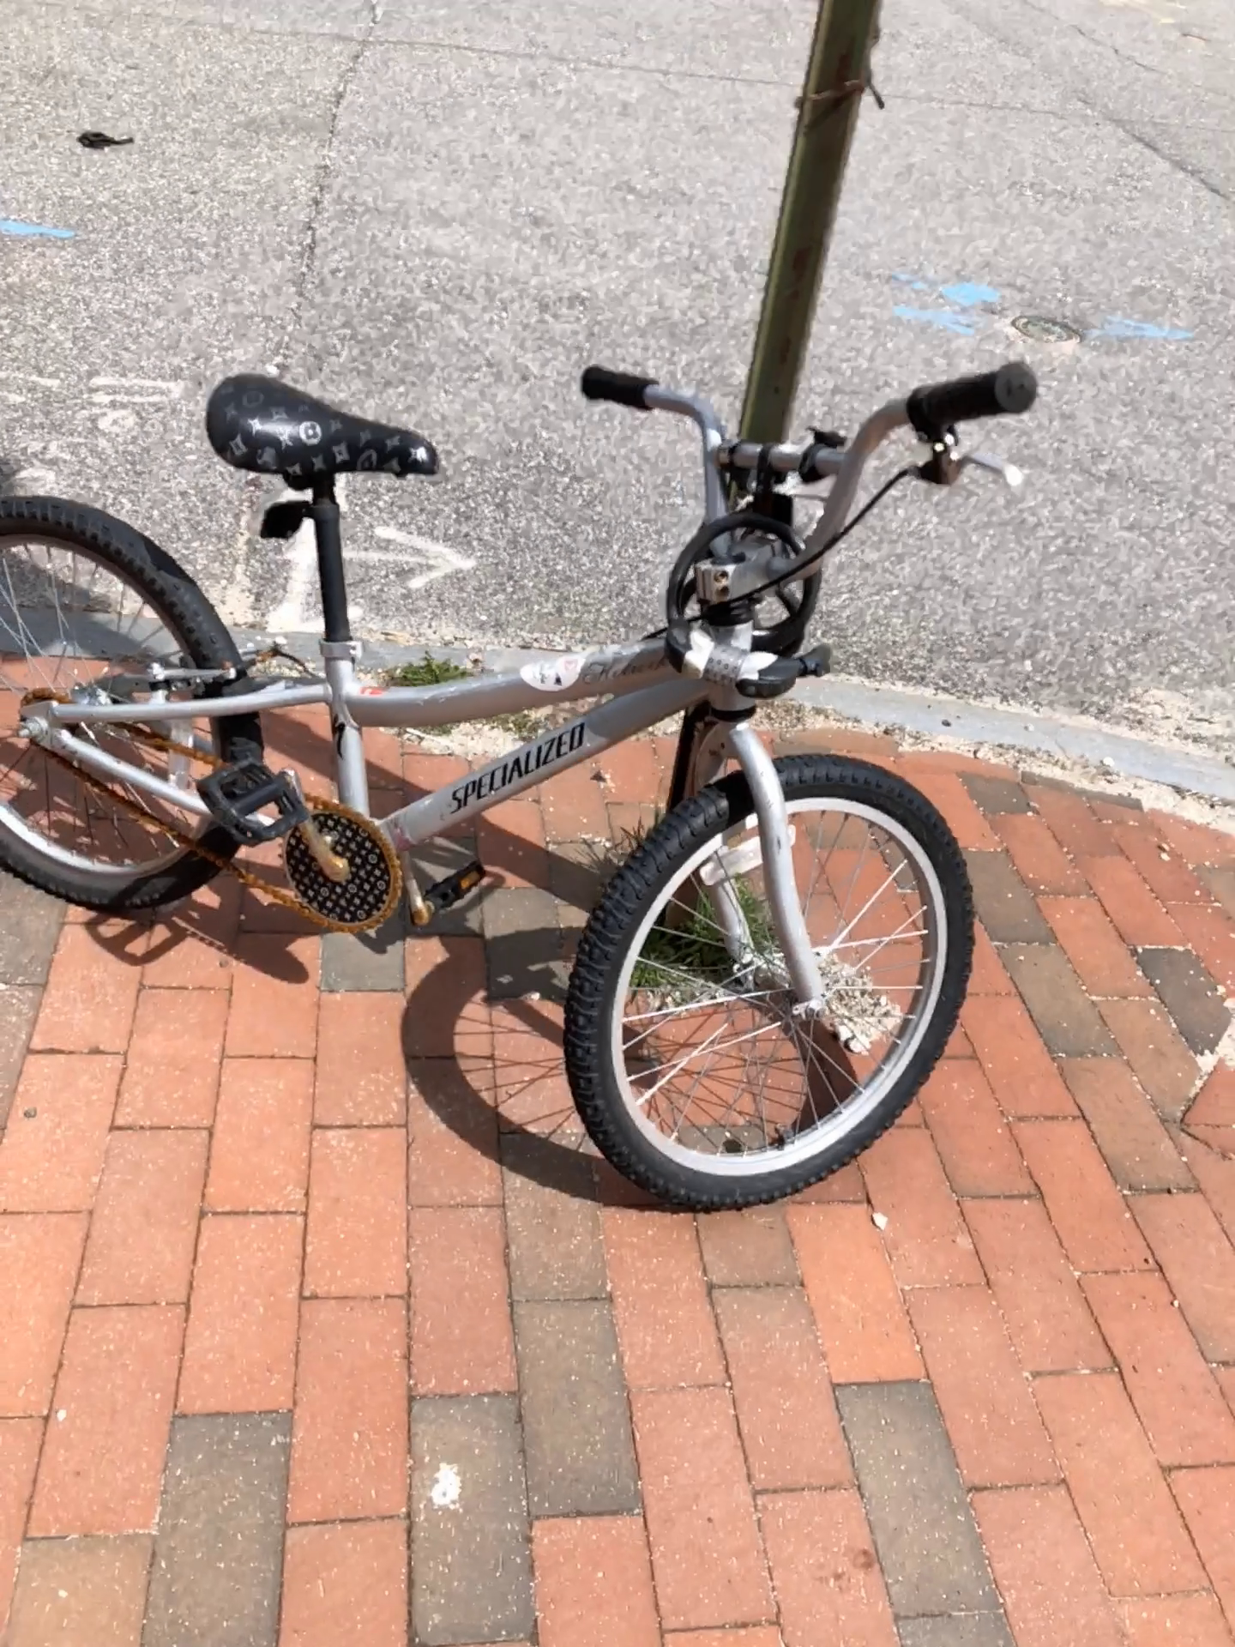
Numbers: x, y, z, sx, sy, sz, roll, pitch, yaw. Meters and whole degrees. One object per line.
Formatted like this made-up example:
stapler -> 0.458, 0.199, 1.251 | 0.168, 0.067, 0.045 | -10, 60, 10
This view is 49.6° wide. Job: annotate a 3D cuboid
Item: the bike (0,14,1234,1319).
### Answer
bike -> -0.194, -0.208, 1.356 | 1.208, 0.831, 0.720 | 15, 37, 6
